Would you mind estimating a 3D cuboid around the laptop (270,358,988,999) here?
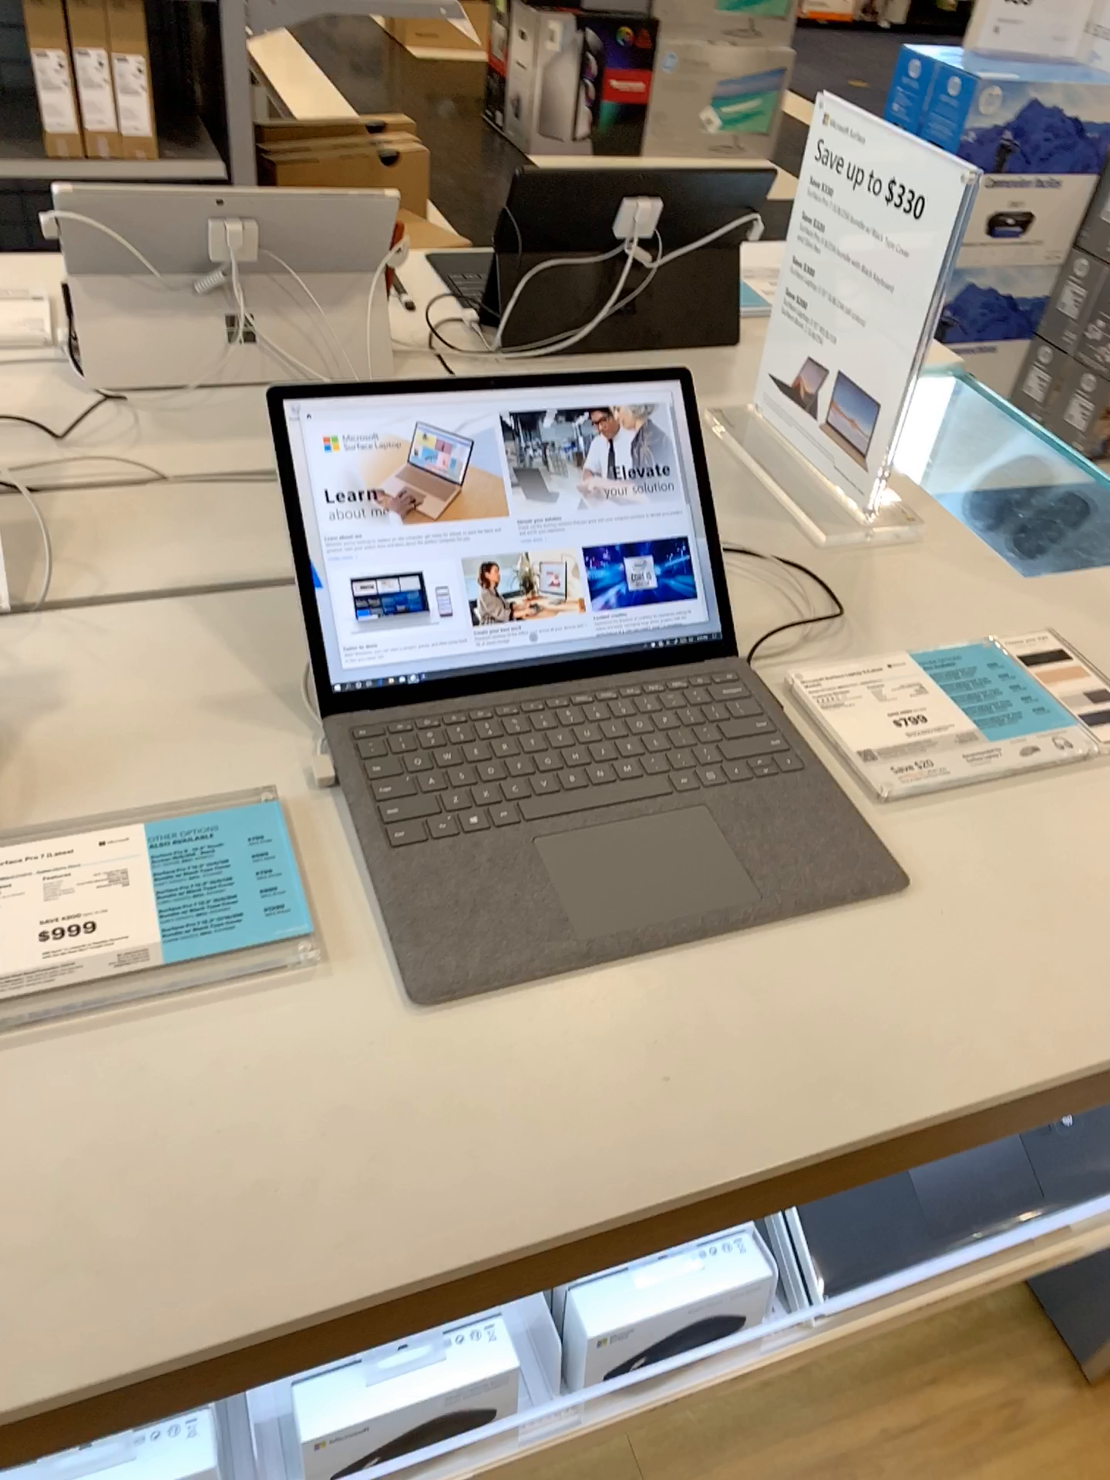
[{"bbox_3d":[0.011,-0.074,0.699,0.296,0.148,0.376,-9,45,-19],"label":"laptop"}]
